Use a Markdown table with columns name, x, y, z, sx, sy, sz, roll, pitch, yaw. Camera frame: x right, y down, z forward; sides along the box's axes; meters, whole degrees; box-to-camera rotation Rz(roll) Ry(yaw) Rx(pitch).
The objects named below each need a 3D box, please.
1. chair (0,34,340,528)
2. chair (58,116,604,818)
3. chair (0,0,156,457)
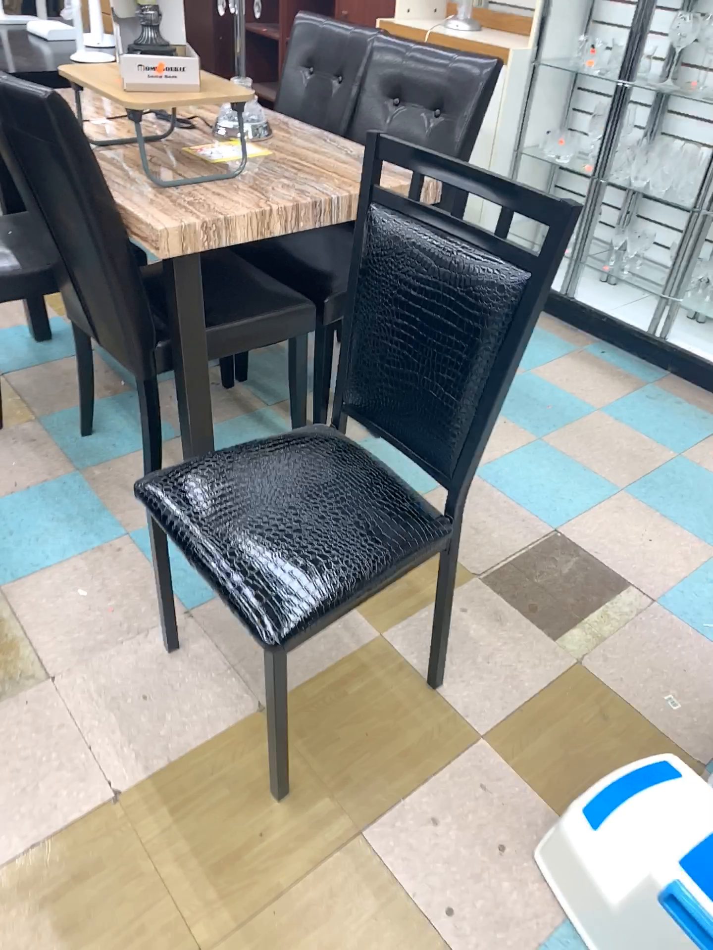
| name | x | y | z | sx | sy | sz | roll | pitch | yaw |
| --- | --- | --- | --- | --- | --- | --- | --- | --- | --- |
| chair | -0.457 | -0.480 | 1.754 | 0.596 | 0.923 | 0.533 | -26 | 47 | -33 |
| chair | -0.062 | -0.003 | 1.190 | 0.505 | 0.943 | 0.463 | -24 | 46 | -31 |
| chair | -1.086 | -0.741 | 2.105 | 0.676 | 1.072 | 0.563 | -26 | 47 | -33 |
